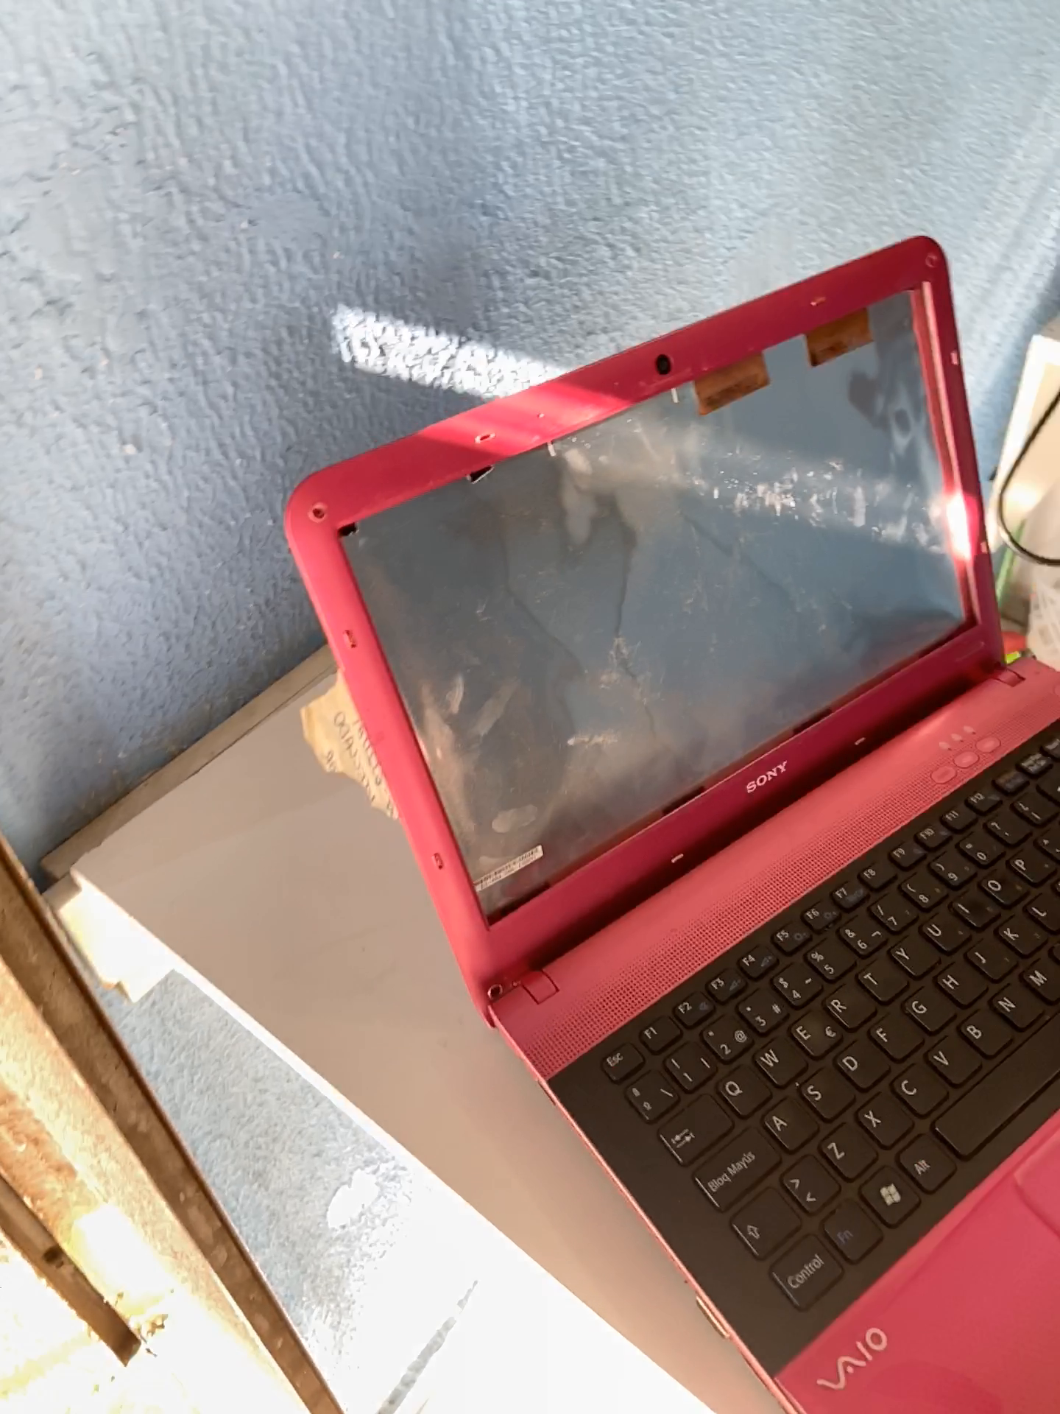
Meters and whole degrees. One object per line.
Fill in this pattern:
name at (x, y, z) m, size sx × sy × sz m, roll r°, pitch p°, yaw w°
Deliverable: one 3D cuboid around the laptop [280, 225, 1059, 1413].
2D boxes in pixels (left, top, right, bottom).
laptop at (0.152, 0.011, 0.402) m, size 0.331 × 0.187 × 0.340 m, roll -27°, pitch 48°, yaw -22°
